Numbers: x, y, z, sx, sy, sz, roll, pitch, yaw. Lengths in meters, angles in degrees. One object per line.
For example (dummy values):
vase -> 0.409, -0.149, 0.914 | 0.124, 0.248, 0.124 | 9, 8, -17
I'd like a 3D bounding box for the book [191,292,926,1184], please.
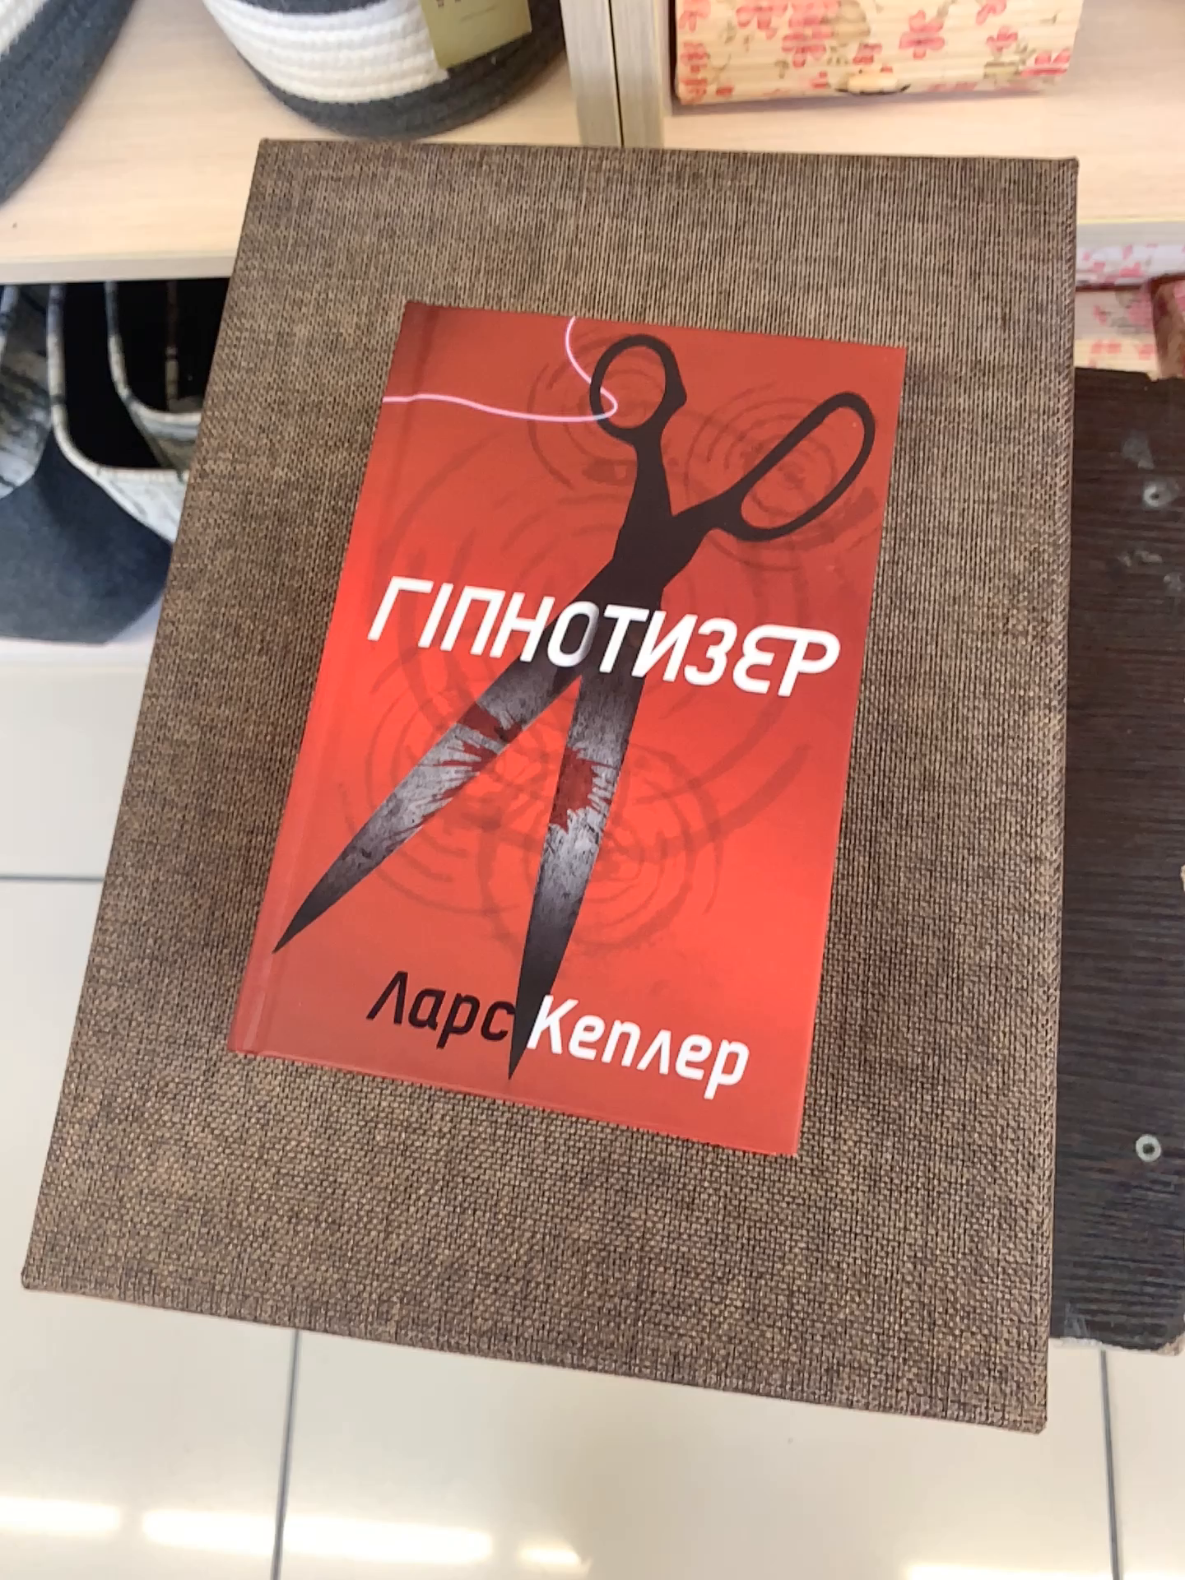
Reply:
book -> -0.001, -0.017, 0.309 | 0.131, 0.060, 0.195 | 10, 76, 10
